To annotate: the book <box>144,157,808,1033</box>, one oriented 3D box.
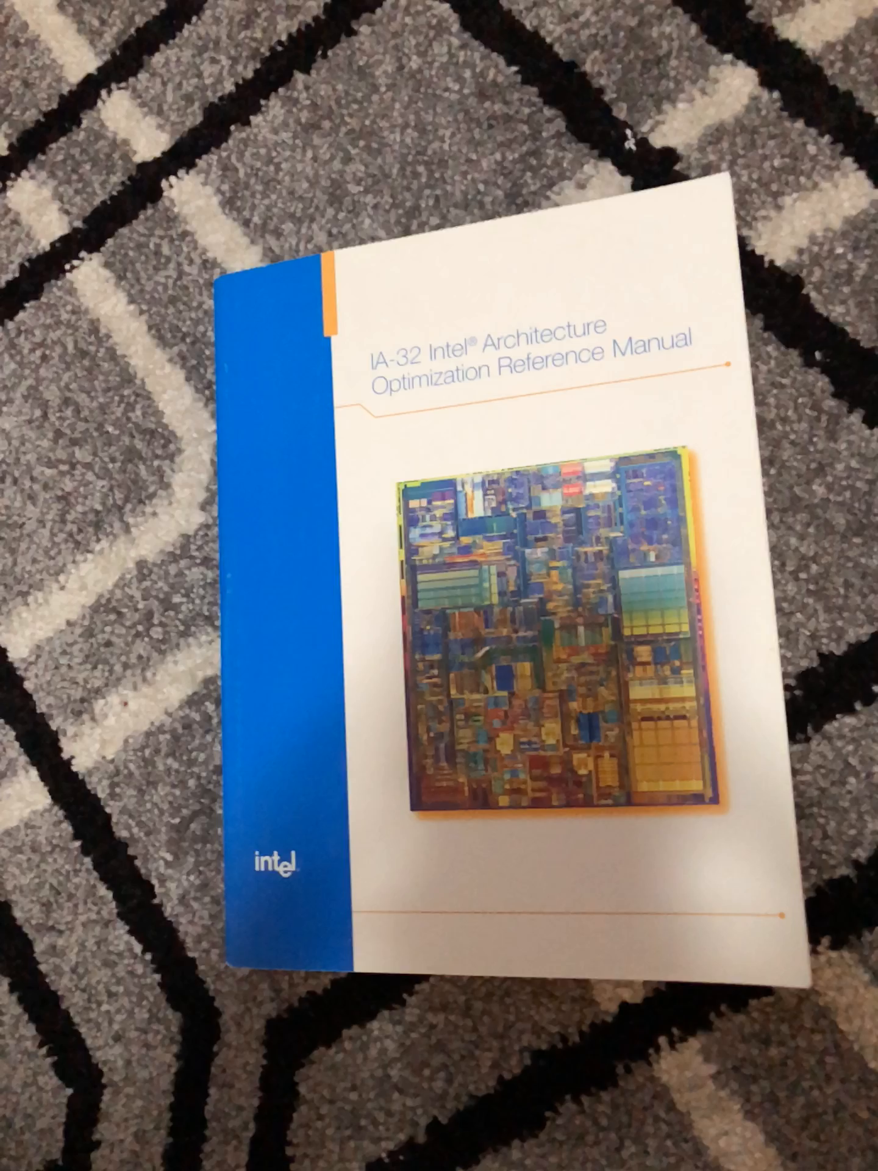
[{"bbox_3d":[0.002,0.005,0.274,0.170,0.040,0.210,-5,81,17],"label":"book"}]
